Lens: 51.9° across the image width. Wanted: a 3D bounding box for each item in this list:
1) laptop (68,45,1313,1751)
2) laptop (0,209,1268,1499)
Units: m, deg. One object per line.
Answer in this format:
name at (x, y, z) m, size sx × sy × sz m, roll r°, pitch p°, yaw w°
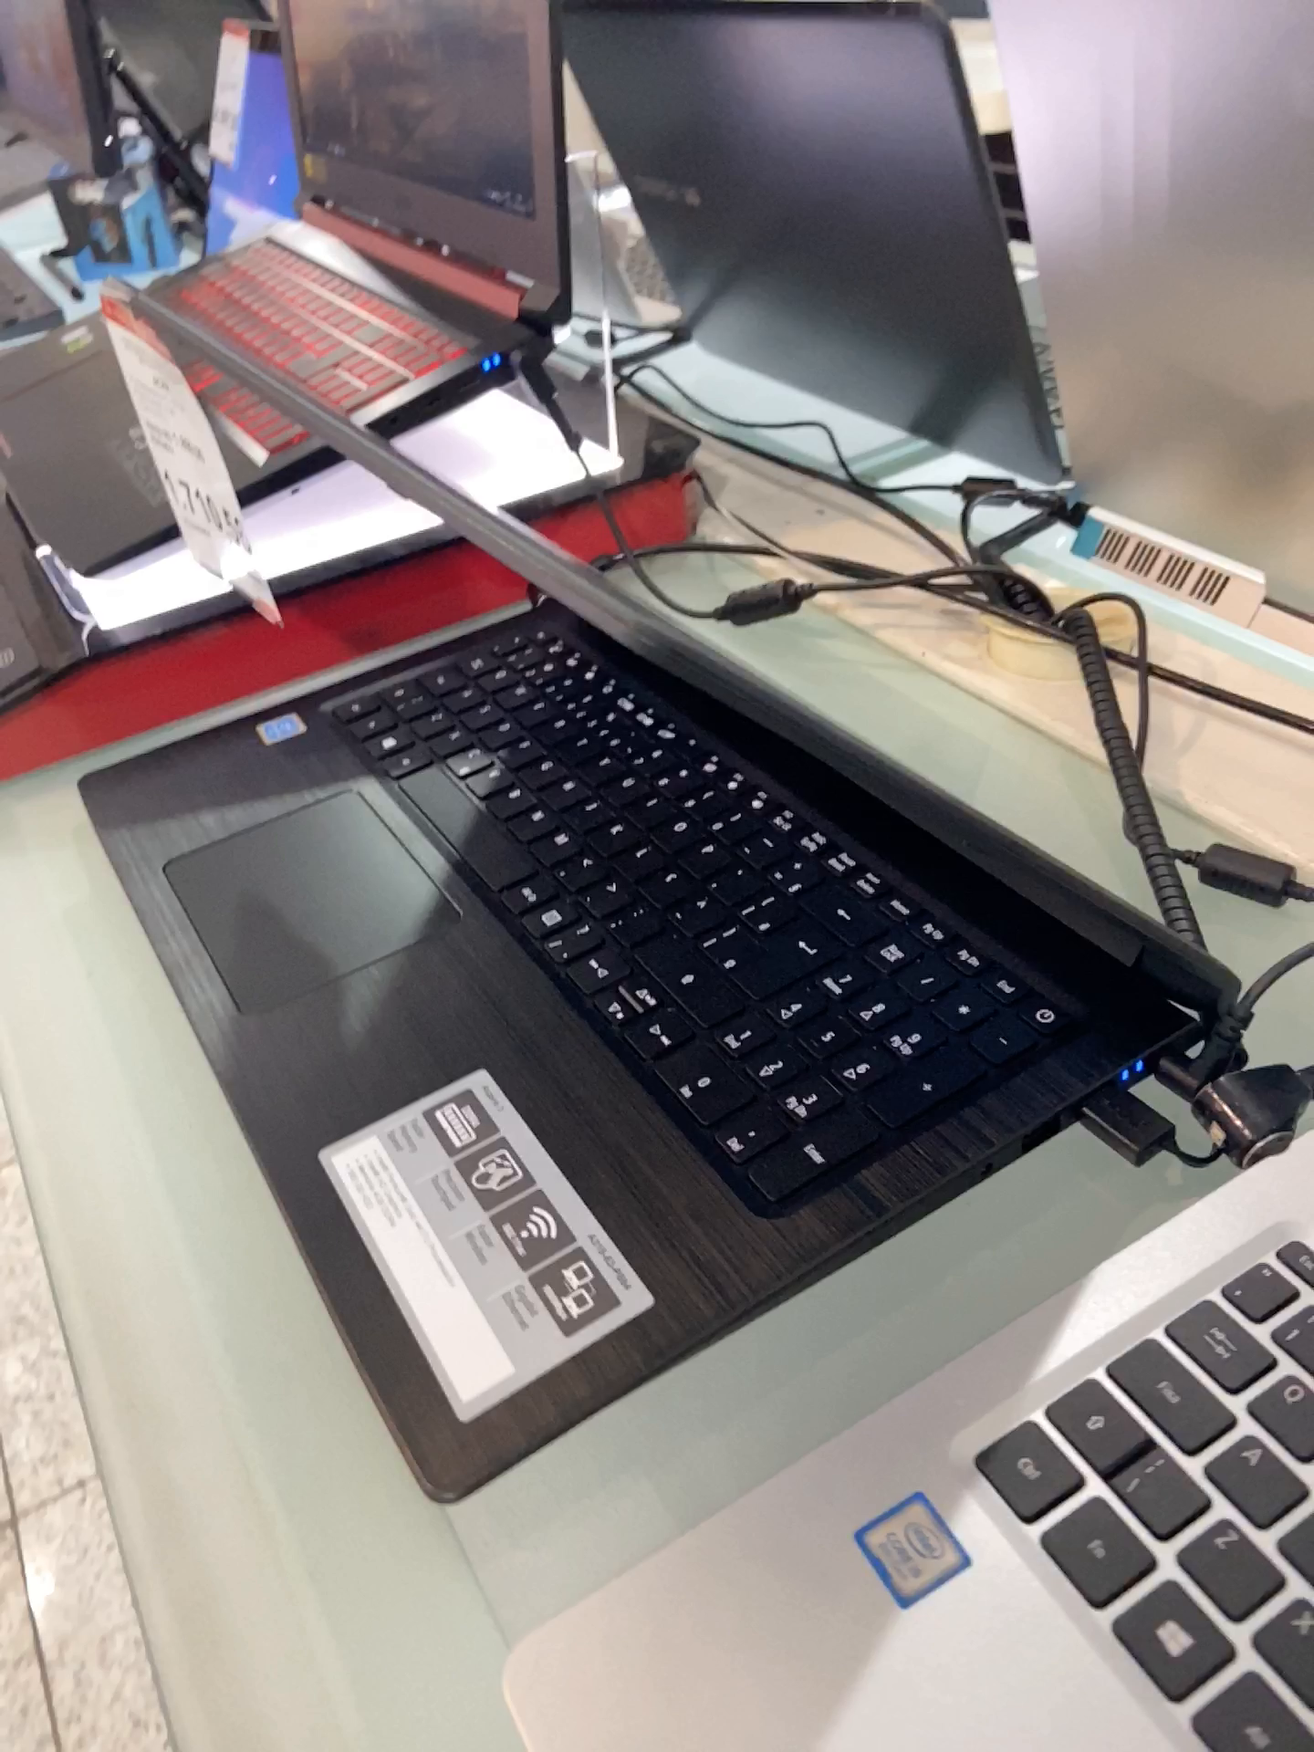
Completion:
laptop at (0.179, 0.092, 0.118) m, size 0.313 × 0.227 × 0.364 m, roll -24°, pitch 39°, yaw -19°
laptop at (-0.060, -0.065, 0.424) m, size 0.230 × 0.169 × 0.377 m, roll -27°, pitch 40°, yaw -20°
